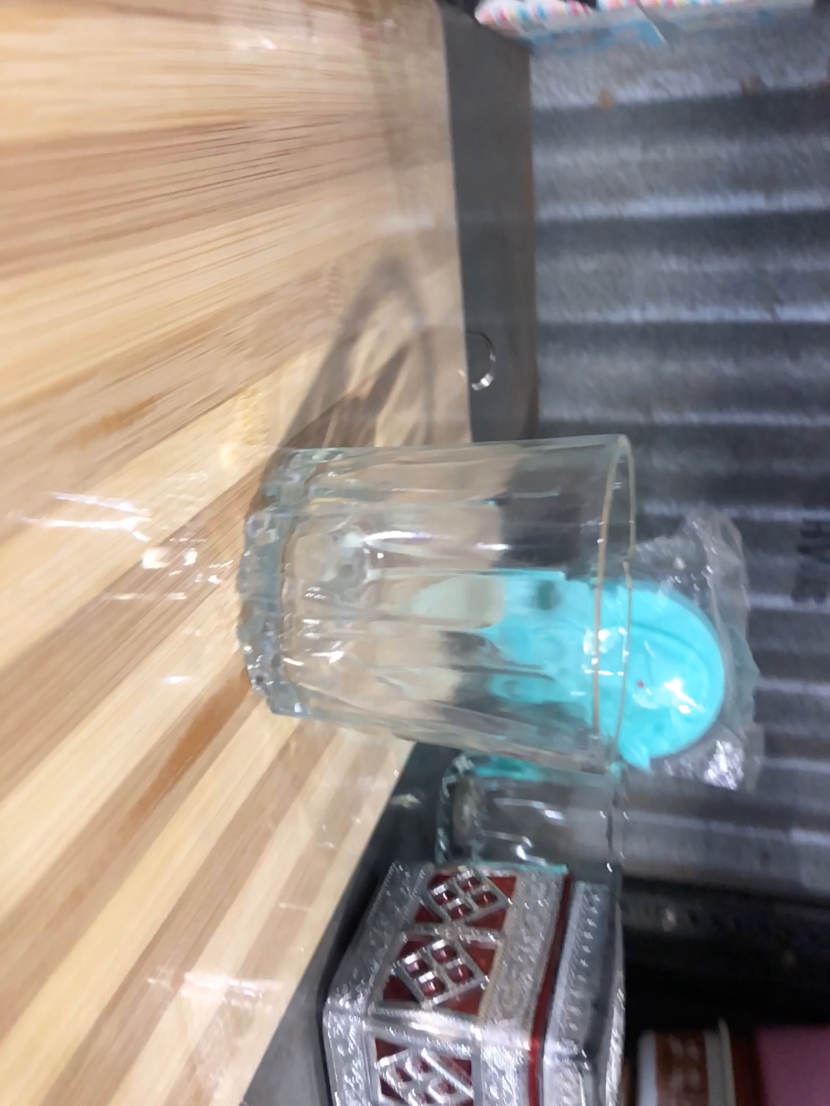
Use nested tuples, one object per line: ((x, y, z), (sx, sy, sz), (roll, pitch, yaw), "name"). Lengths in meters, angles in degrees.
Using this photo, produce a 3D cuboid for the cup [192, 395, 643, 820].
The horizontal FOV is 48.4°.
((0.010, 0.017, 0.218), (0.080, 0.080, 0.080), (3, 90, -74), "cup")
